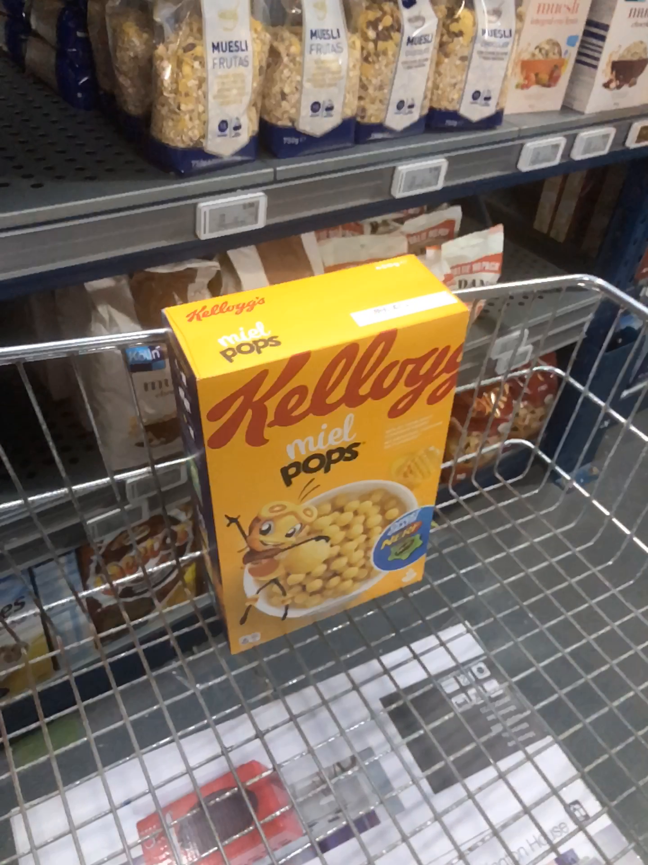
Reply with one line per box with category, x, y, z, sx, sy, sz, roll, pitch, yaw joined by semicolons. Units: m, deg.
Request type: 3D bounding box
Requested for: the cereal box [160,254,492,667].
cereal box;-0.001;0.027;0.561;0.200;0.279;0.090;-18;43;-23
